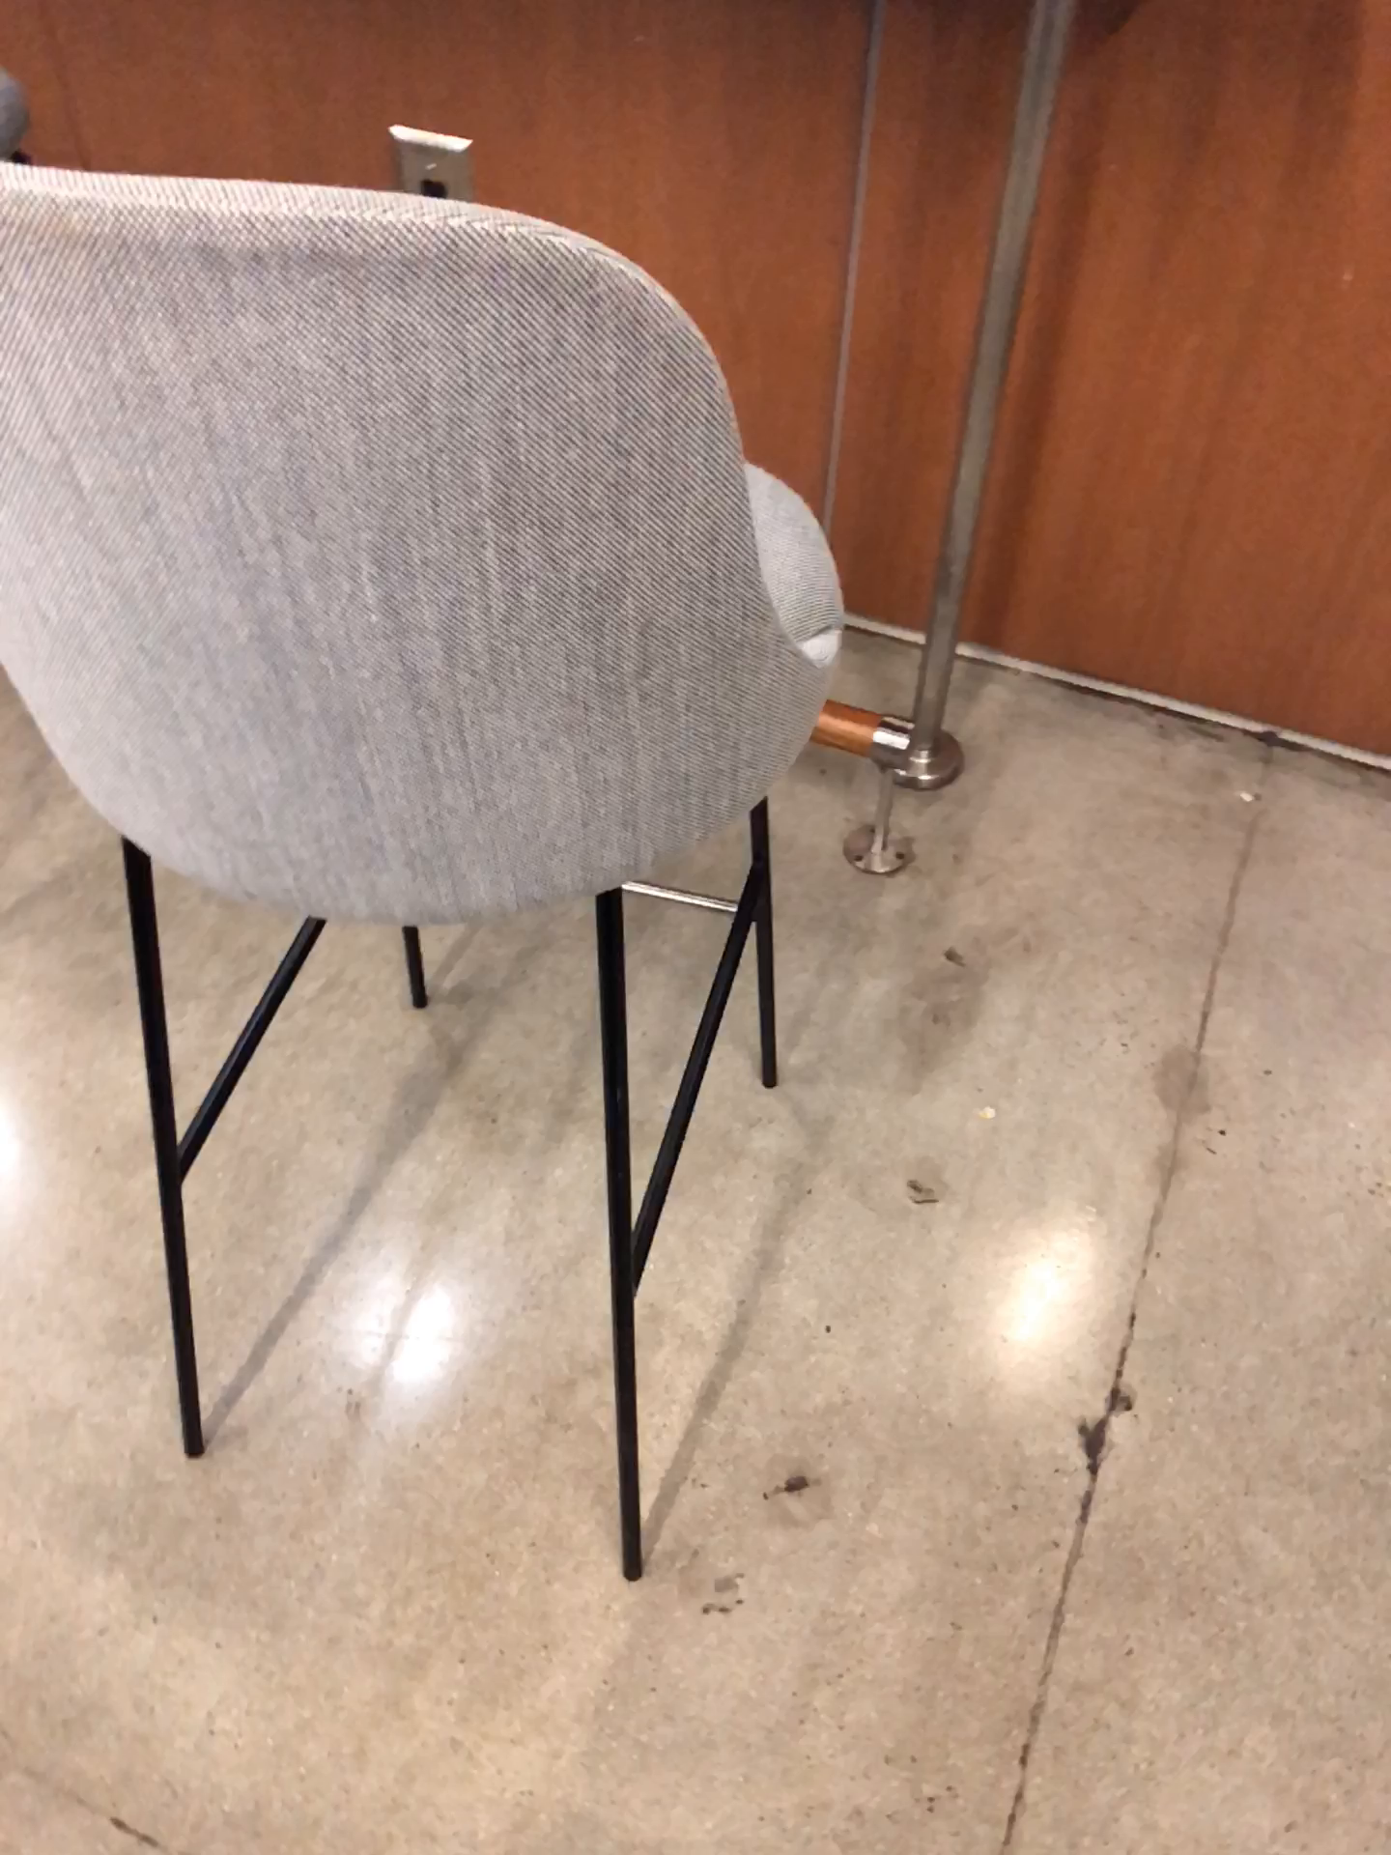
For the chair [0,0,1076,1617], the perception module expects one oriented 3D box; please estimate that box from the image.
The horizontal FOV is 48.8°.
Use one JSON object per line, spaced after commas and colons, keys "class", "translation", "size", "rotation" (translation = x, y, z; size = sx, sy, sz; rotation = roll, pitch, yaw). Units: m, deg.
{"class": "chair", "translation": [-0.127, -0.088, 1.032], "size": [0.460, 1.096, 0.622], "rotation": [13, 50, 9]}
